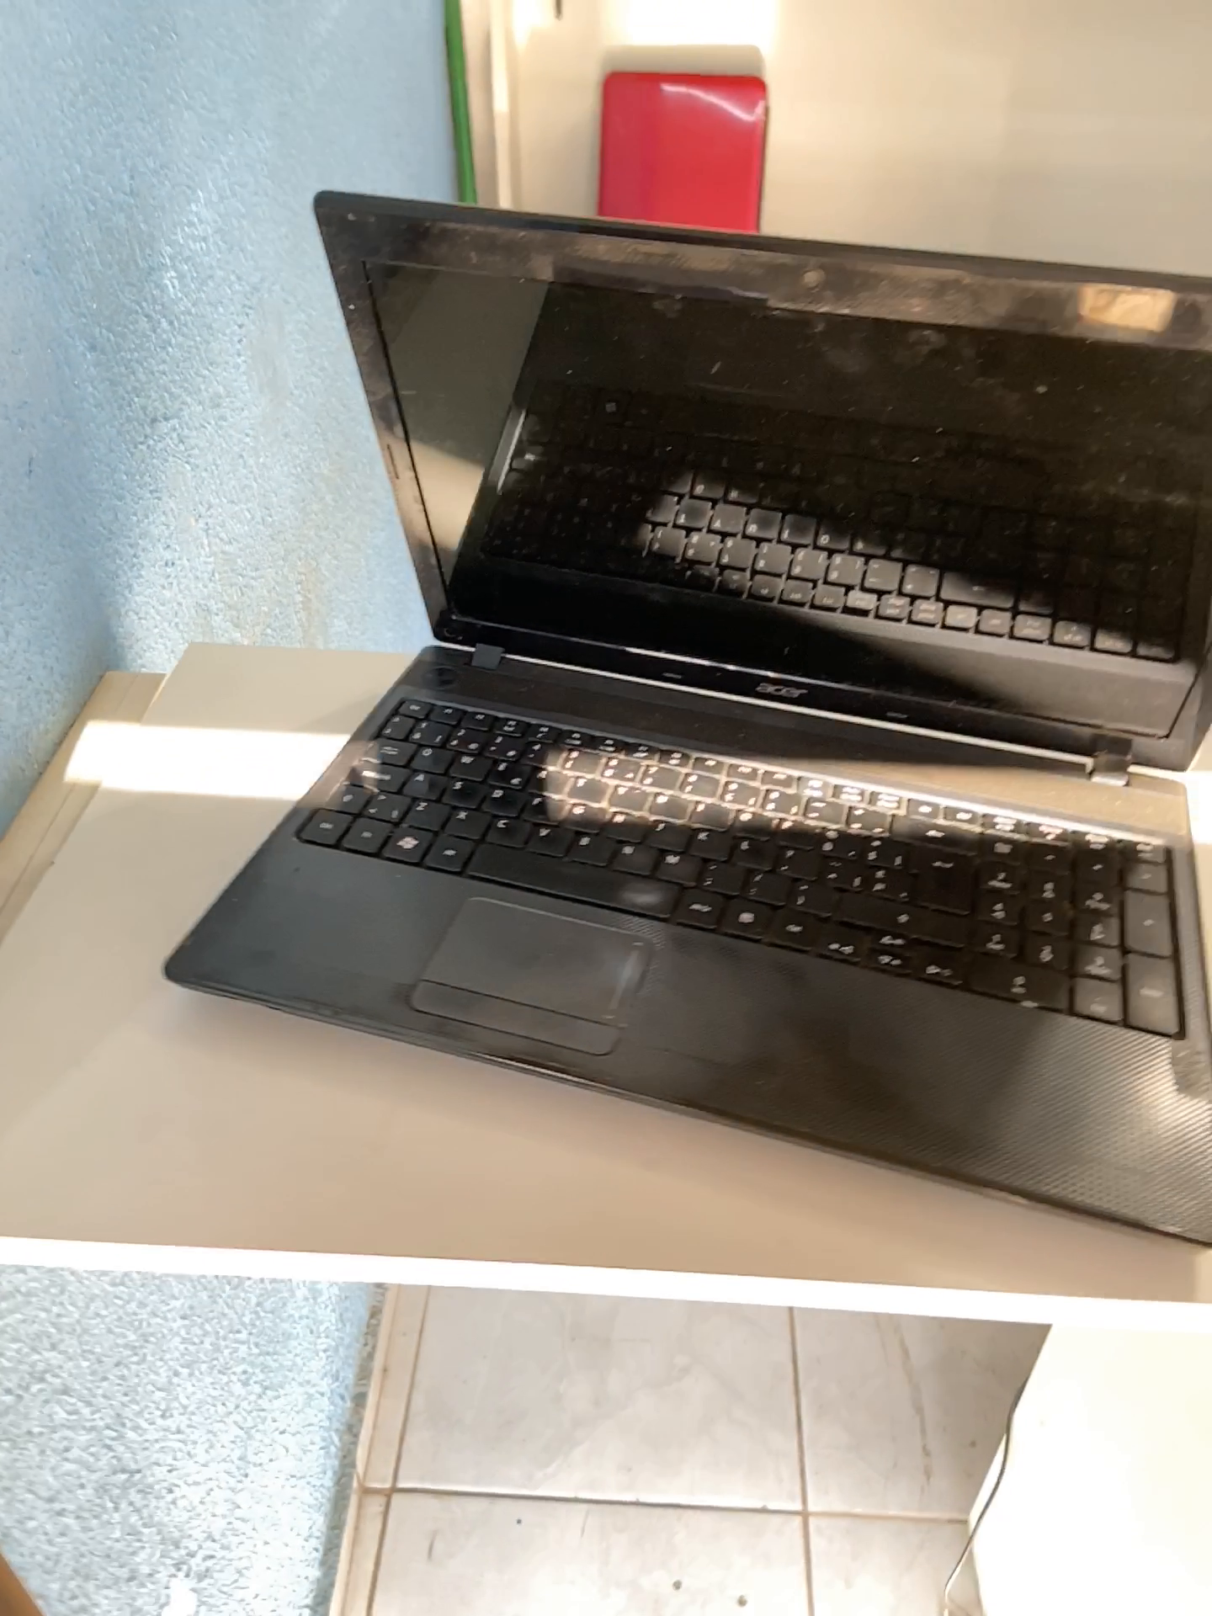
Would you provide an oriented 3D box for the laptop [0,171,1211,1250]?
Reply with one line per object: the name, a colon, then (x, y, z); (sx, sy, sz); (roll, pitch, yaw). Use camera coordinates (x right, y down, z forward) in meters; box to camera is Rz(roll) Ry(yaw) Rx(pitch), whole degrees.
laptop: (0.048, -0.065, 0.458); (0.374, 0.234, 0.255); (11, 39, 13)
